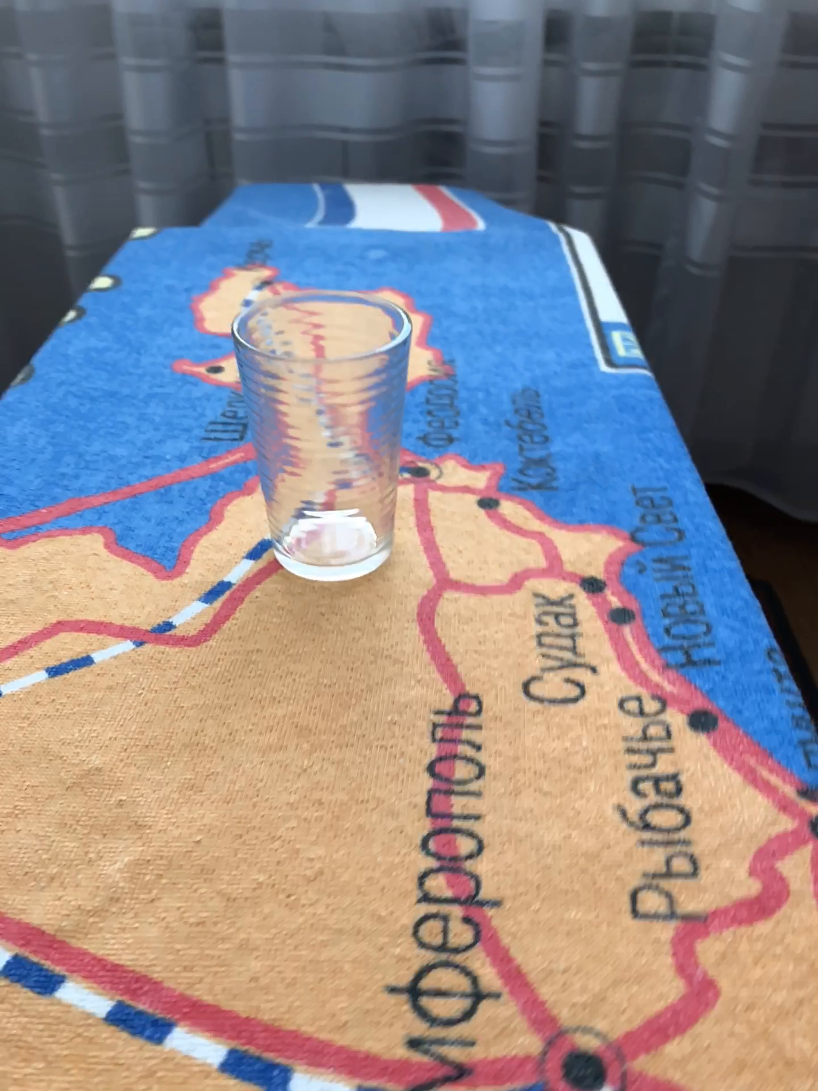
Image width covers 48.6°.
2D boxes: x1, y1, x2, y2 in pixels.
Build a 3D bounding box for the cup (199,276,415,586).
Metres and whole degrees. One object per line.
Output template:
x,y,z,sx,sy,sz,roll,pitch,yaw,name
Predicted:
-0.035,-0.045,0.361,0.070,0.099,0.068,0,38,0,cup
